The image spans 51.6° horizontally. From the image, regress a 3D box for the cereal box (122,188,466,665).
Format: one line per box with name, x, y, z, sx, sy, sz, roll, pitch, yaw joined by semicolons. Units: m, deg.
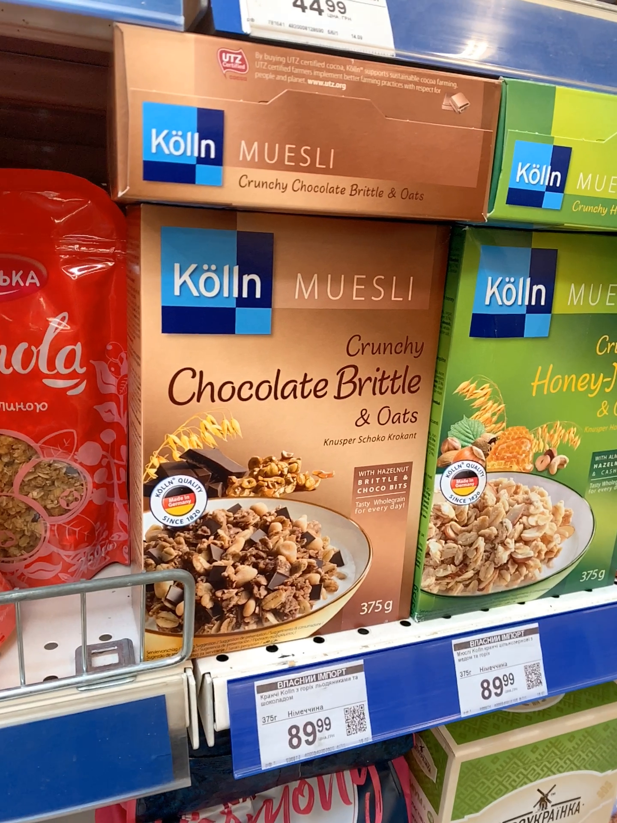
cereal box;-0.014;0.005;0.324;0.150;0.209;0.060;-2;15;-21
